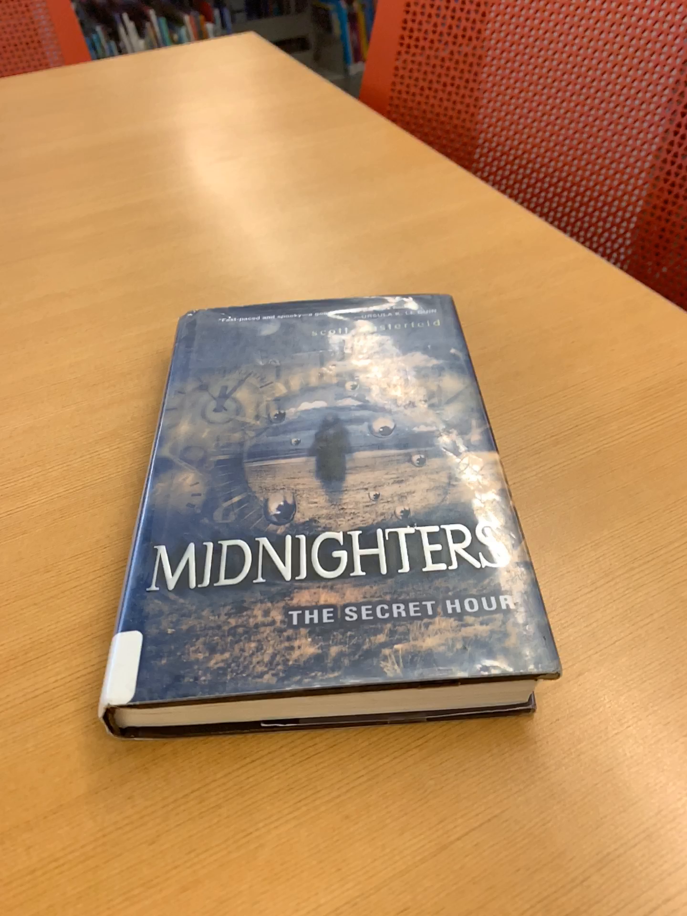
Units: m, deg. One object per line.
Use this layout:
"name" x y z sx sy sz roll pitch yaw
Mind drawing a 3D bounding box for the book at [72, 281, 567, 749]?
"book" -0.012 0.004 0.305 0.150 0.040 0.215 -4 45 0
